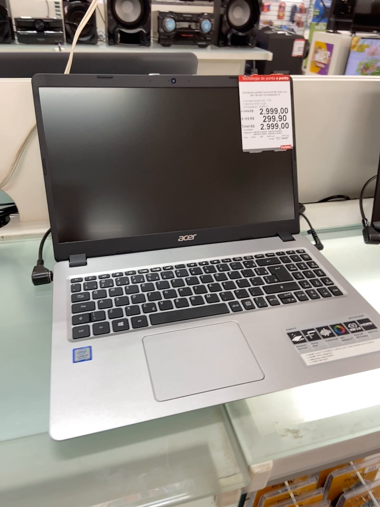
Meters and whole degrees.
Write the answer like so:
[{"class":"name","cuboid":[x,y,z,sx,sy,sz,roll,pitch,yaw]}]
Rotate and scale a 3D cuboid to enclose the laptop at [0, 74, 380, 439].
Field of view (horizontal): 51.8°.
[{"class":"laptop","cuboid":[0.018,-0.060,0.457,0.367,0.205,0.374,-7,36,-14]}]
